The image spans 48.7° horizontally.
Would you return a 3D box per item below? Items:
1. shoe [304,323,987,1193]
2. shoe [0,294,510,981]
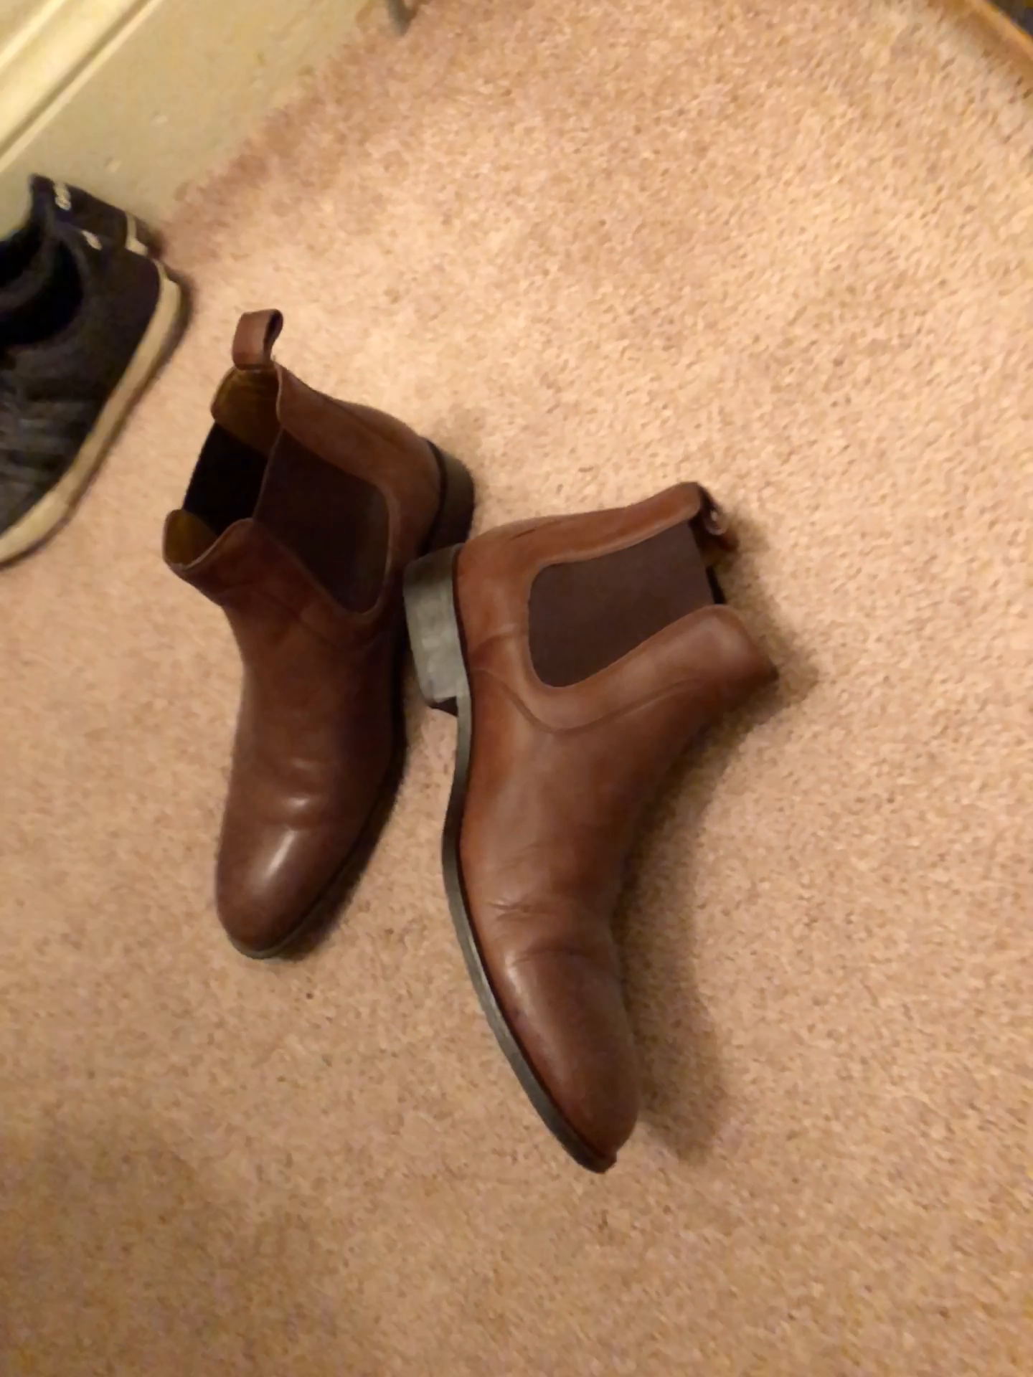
[{"bbox_3d":[0.042,0.029,0.487,0.169,0.119,0.297,-28,63,20],"label":"shoe"},{"bbox_3d":[-0.137,-0.020,0.574,0.109,0.158,0.296,16,83,34],"label":"shoe"}]
